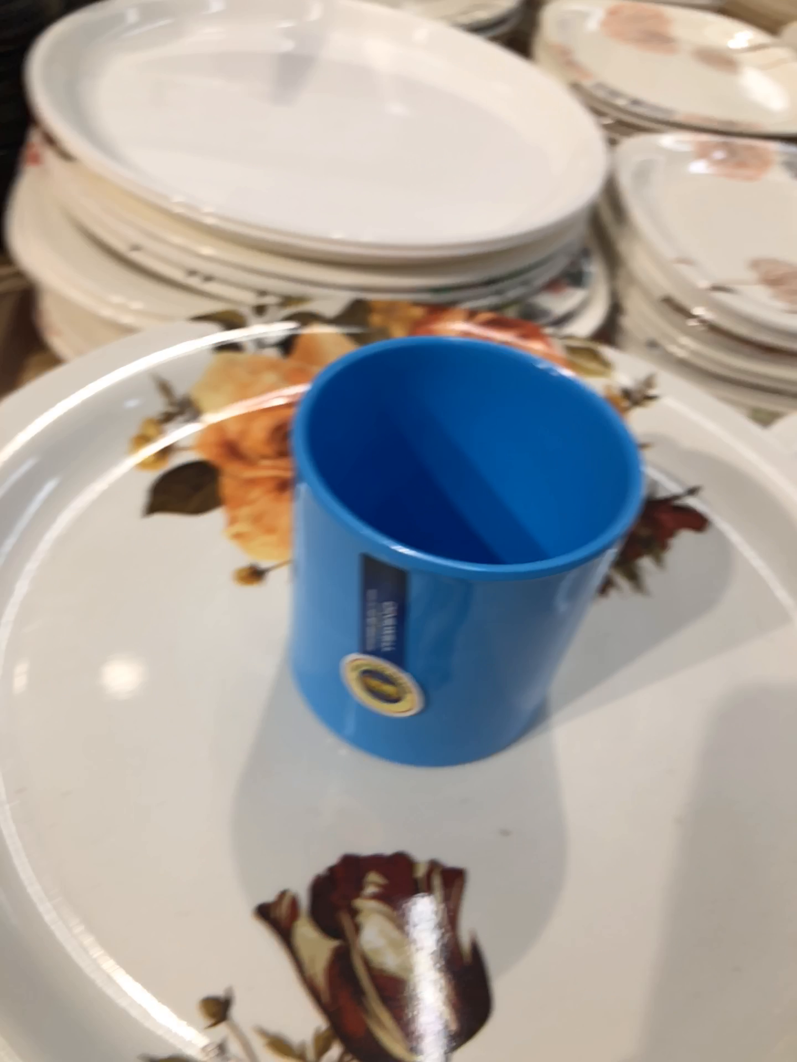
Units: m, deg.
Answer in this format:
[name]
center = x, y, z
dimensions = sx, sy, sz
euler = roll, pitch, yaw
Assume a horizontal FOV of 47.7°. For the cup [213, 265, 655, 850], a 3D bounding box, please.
[cup]
center = 0.010, 0.005, 0.245
dimensions = 0.080, 0.089, 0.111
euler = 18, 48, 5
